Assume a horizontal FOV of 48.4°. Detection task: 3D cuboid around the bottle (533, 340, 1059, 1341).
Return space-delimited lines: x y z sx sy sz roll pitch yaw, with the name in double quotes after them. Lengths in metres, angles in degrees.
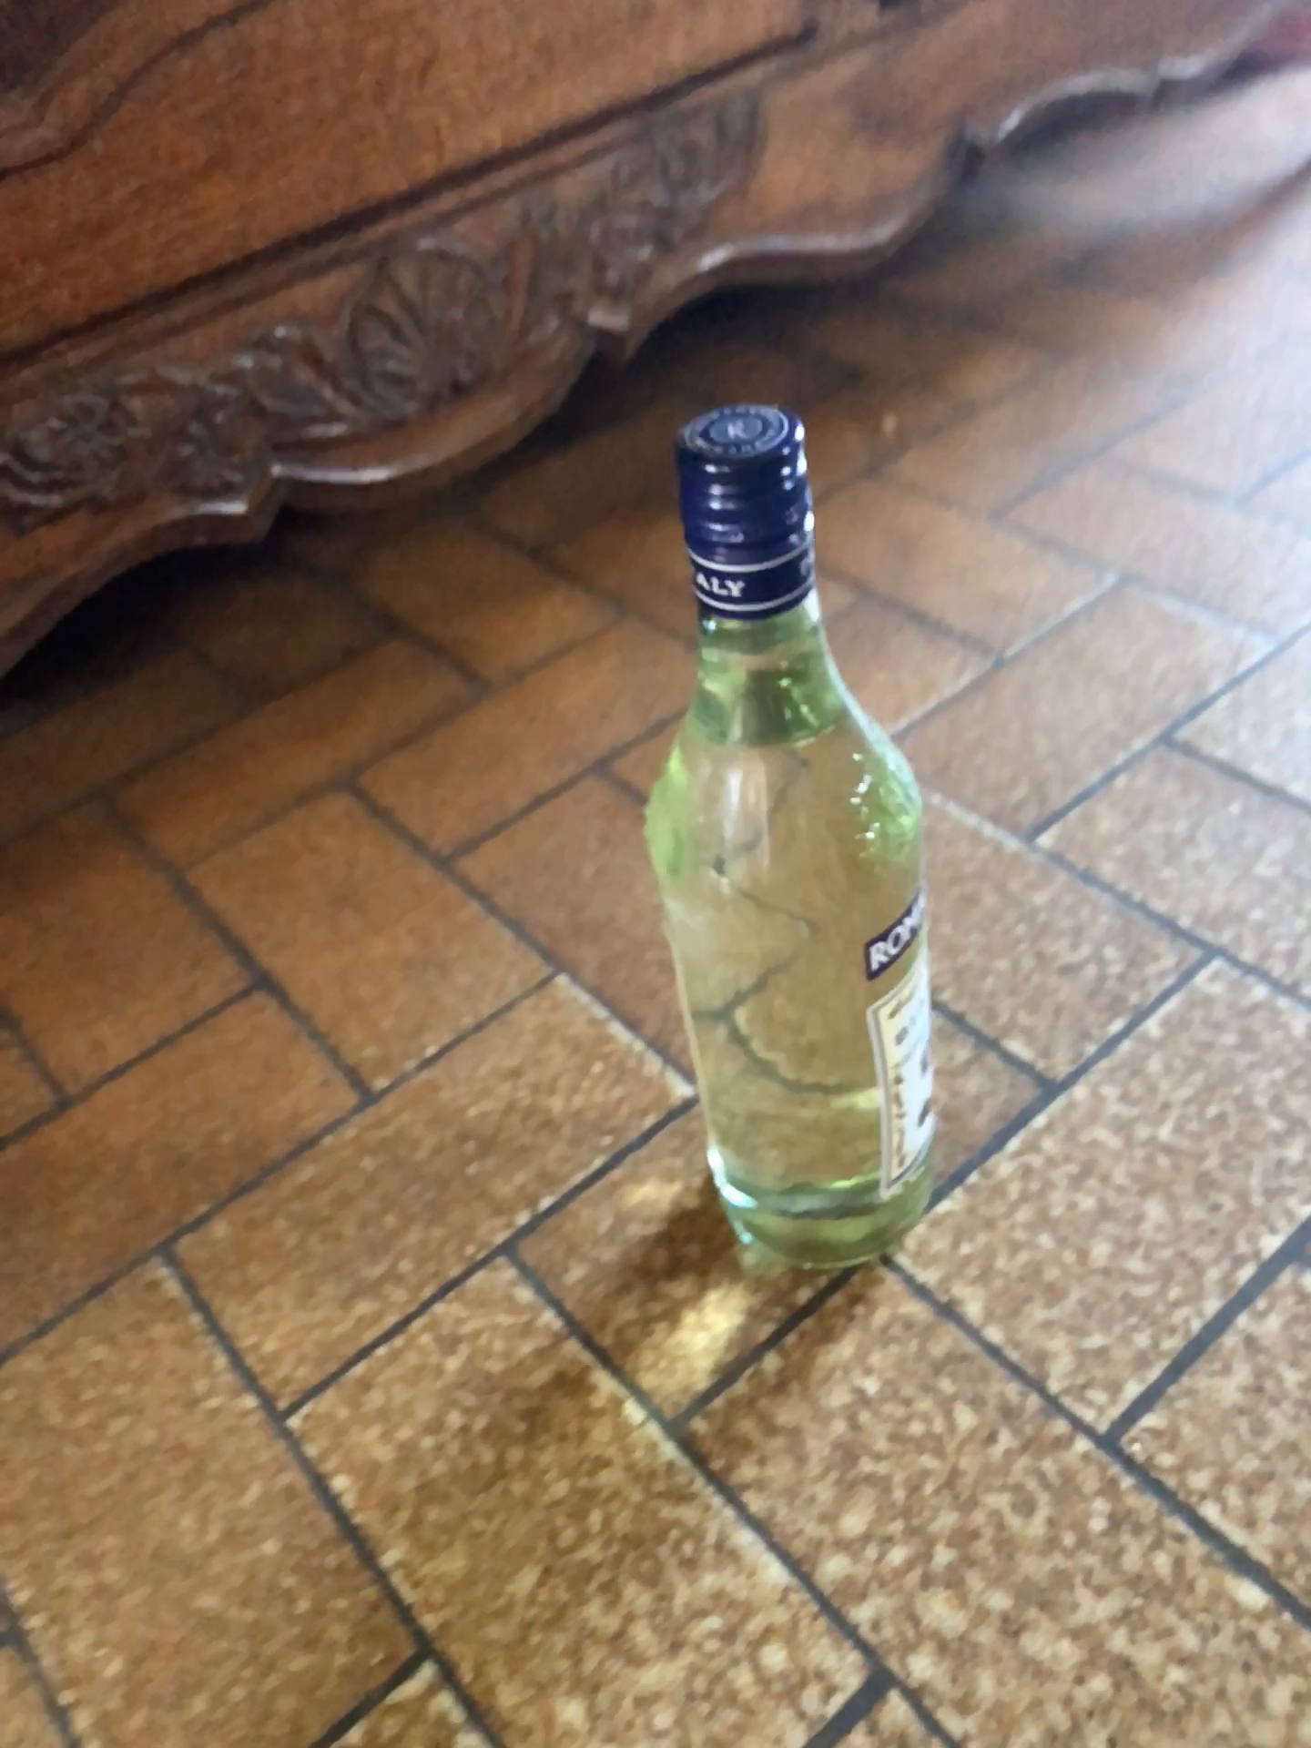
0.058 0.008 0.434 0.100 0.298 0.101 -6 43 6 "bottle"
